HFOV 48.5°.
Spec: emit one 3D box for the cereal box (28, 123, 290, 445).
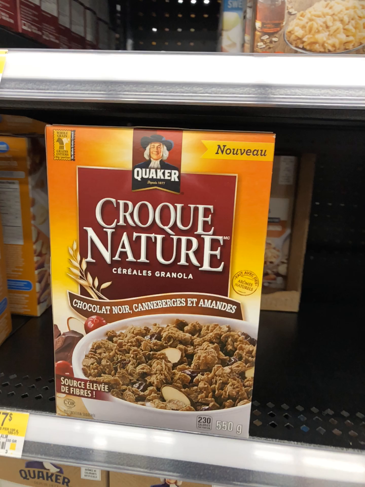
[{"bbox_3d":[-0.019,0.030,0.312,0.170,0.229,0.050,4,15,7],"label":"cereal box"}]
